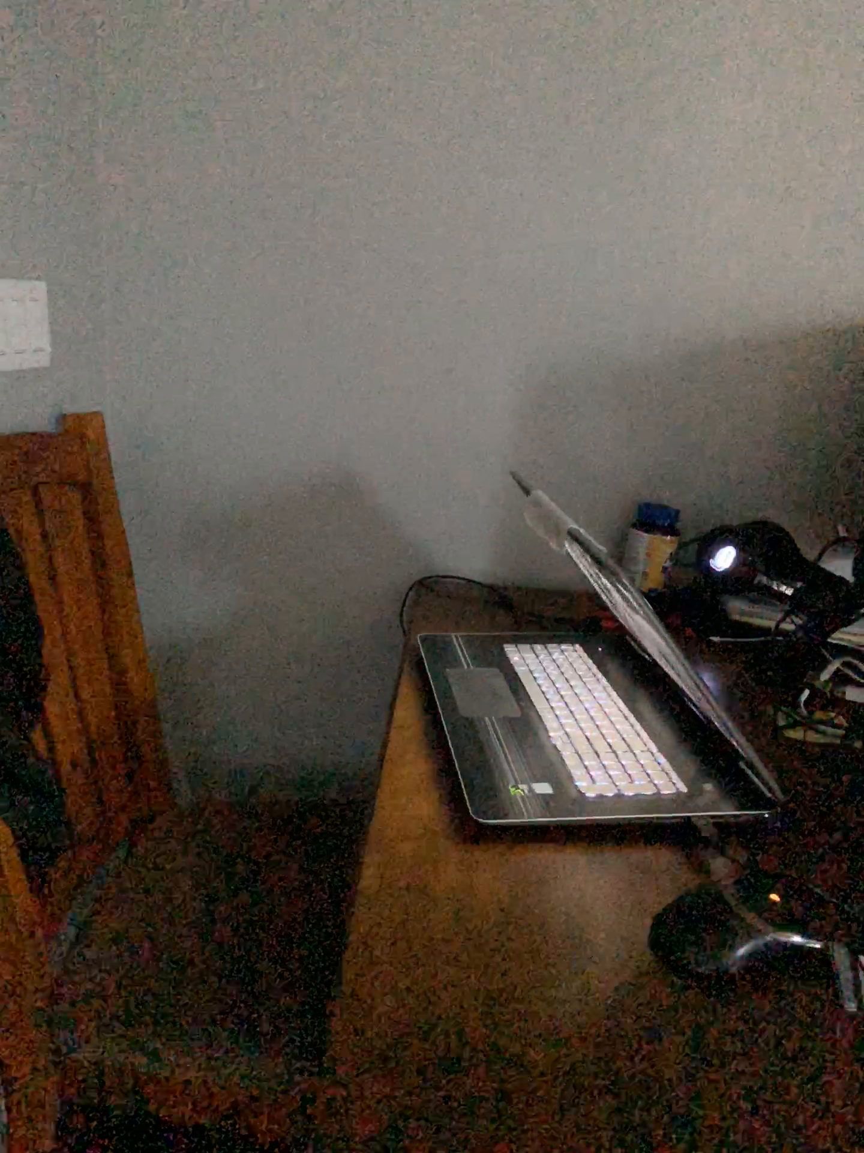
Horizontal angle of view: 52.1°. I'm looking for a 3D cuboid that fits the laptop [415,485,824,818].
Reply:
[{"bbox_3d":[0.141,0.041,0.878,0.256,0.187,0.395,1,17,-8],"label":"laptop"}]
